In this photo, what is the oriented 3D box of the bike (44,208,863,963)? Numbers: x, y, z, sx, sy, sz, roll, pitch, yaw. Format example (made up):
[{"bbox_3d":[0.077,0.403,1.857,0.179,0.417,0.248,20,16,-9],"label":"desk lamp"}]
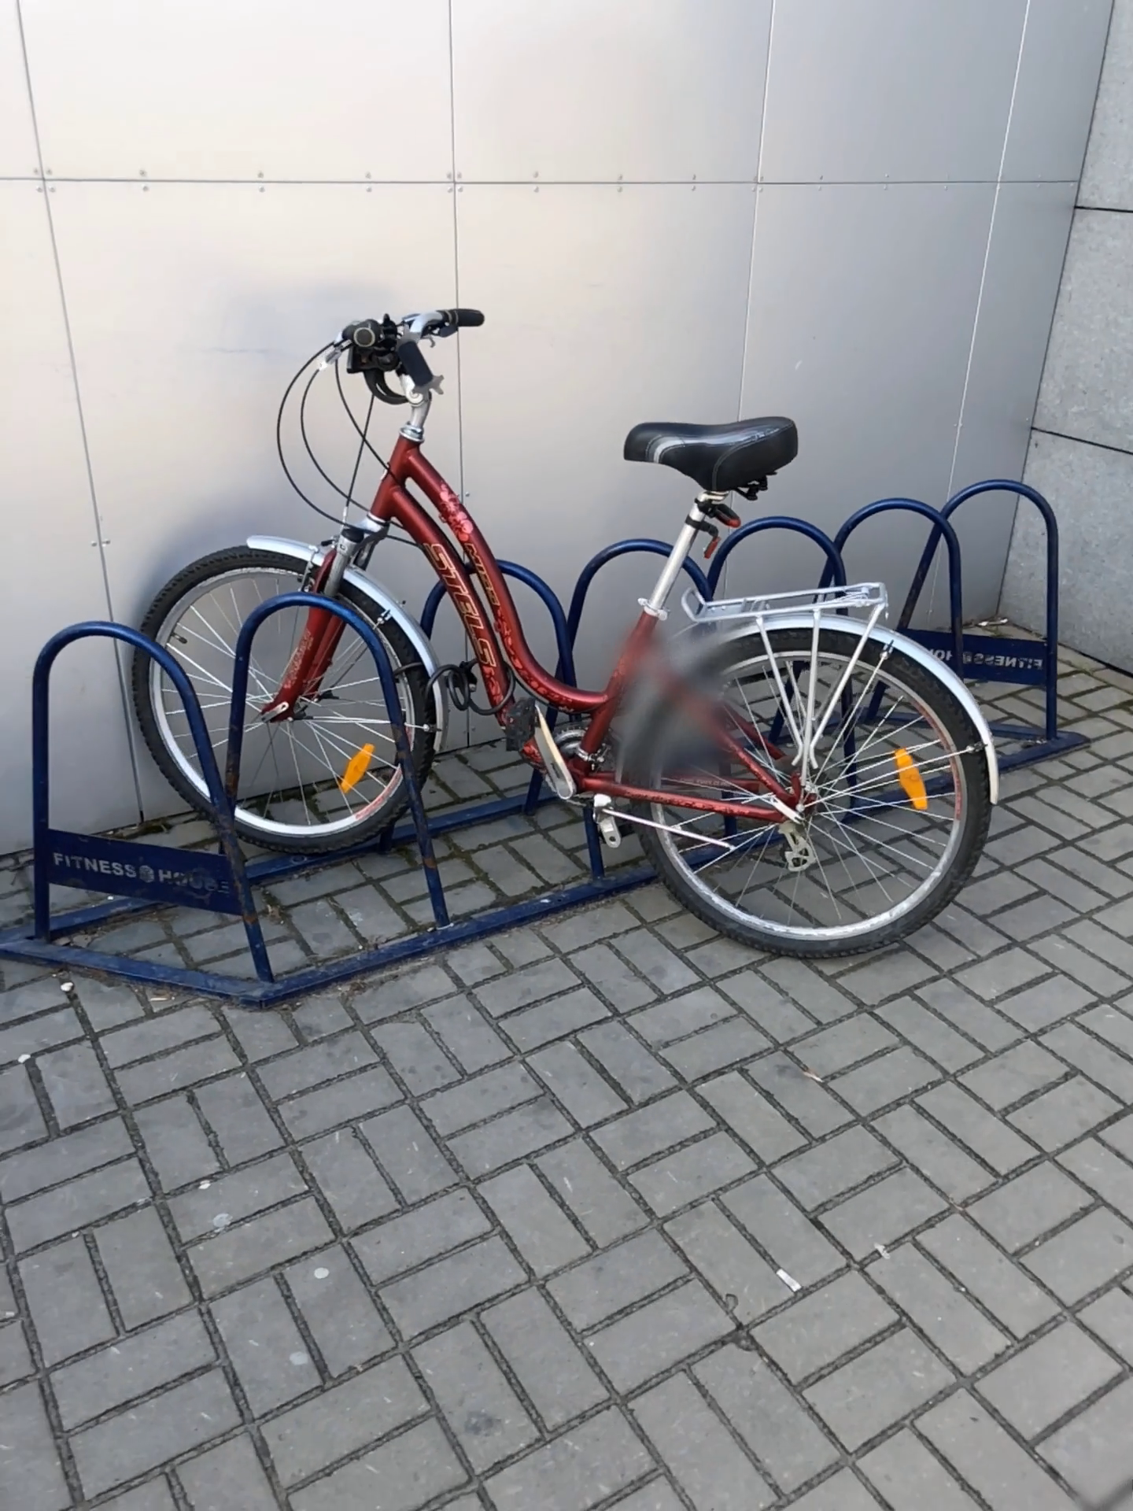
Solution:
[{"bbox_3d":[-0.170,-0.378,2.304,1.305,0.972,0.598,13,28,14],"label":"bike"}]
